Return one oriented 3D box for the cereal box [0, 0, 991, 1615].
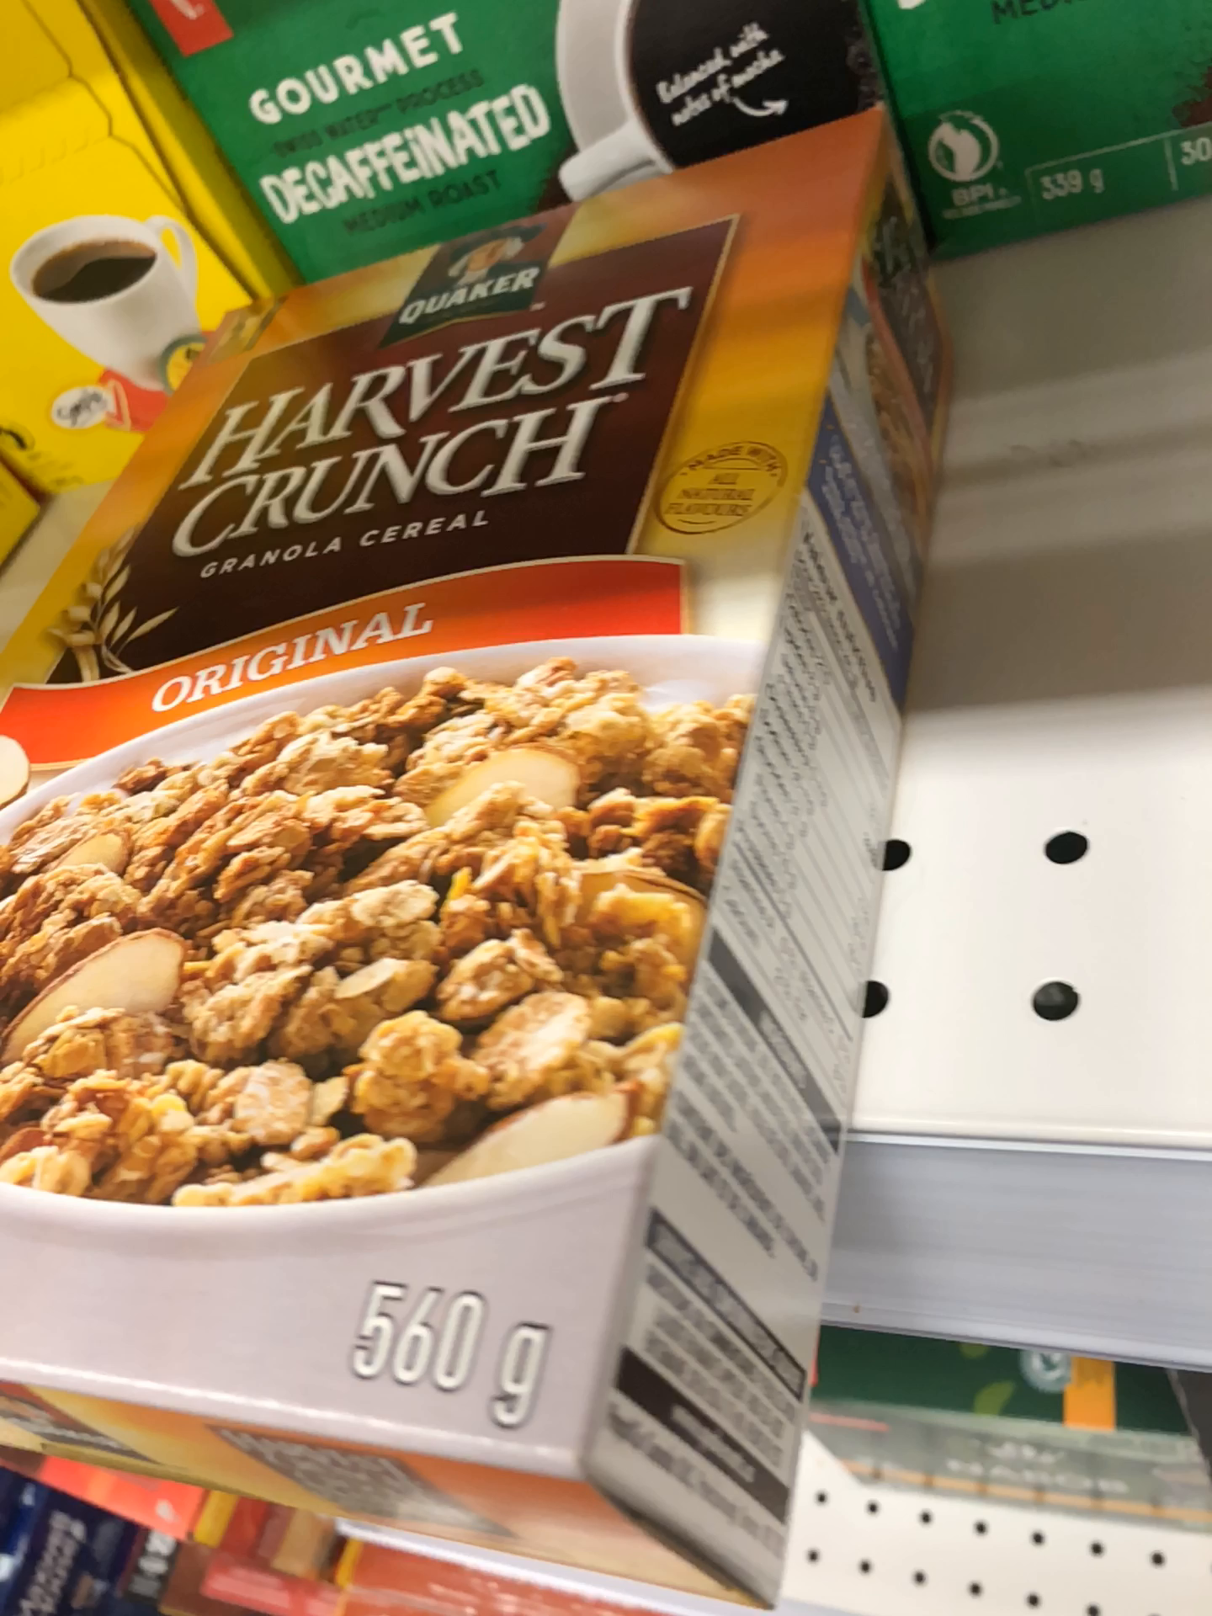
[{"bbox_3d":[-0.034,-0.035,0.237,0.170,0.050,0.280,-5,49,27],"label":"cereal box"}]
